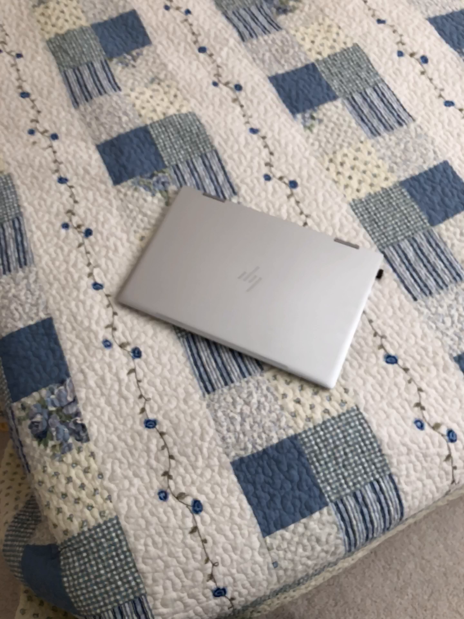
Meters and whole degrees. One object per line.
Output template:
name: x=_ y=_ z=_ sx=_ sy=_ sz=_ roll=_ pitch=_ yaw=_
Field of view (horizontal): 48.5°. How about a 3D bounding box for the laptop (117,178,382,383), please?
laptop: x=0.032 y=-0.066 z=0.886 sx=0.386 sy=0.011 sz=0.256 roll=22 pitch=69 yaw=11
